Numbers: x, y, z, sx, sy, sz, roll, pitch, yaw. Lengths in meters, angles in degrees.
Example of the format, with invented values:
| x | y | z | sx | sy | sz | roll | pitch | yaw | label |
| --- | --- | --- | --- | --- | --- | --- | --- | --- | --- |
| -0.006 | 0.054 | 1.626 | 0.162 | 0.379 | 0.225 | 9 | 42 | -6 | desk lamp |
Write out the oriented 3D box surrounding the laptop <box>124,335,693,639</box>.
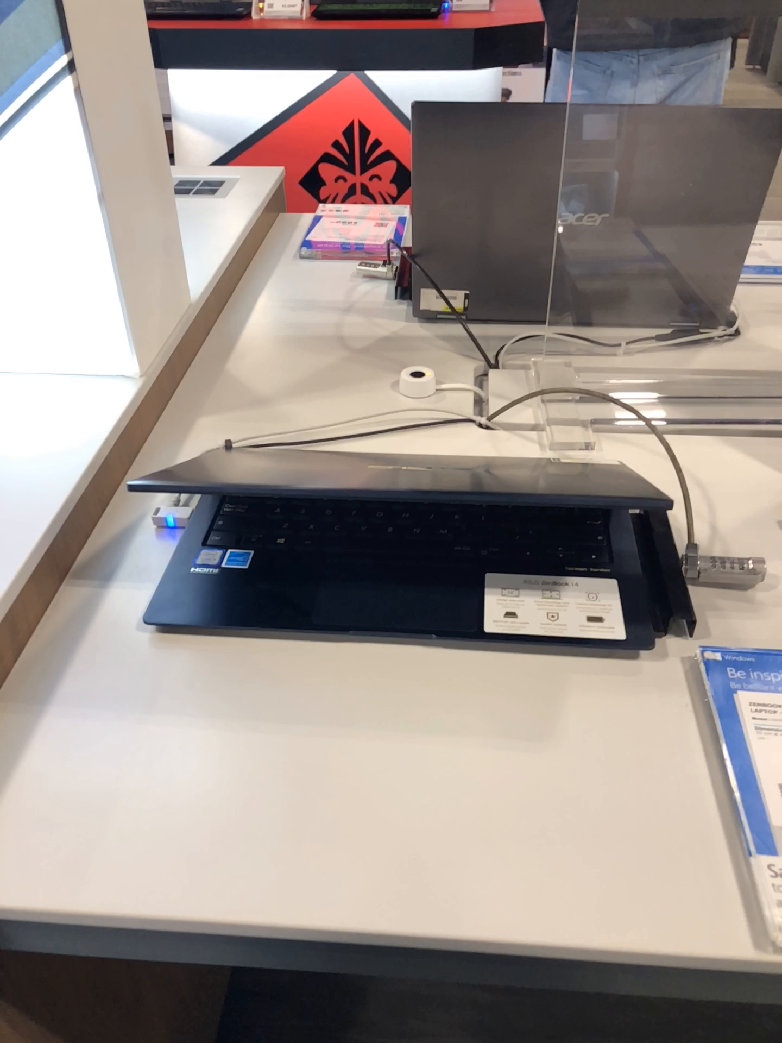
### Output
| x | y | z | sx | sy | sz | roll | pitch | yaw | label |
| --- | --- | --- | --- | --- | --- | --- | --- | --- | --- |
| 0.016 | -0.035 | 0.576 | 0.310 | 0.095 | 0.204 | 3 | 36 | 5 | laptop |
